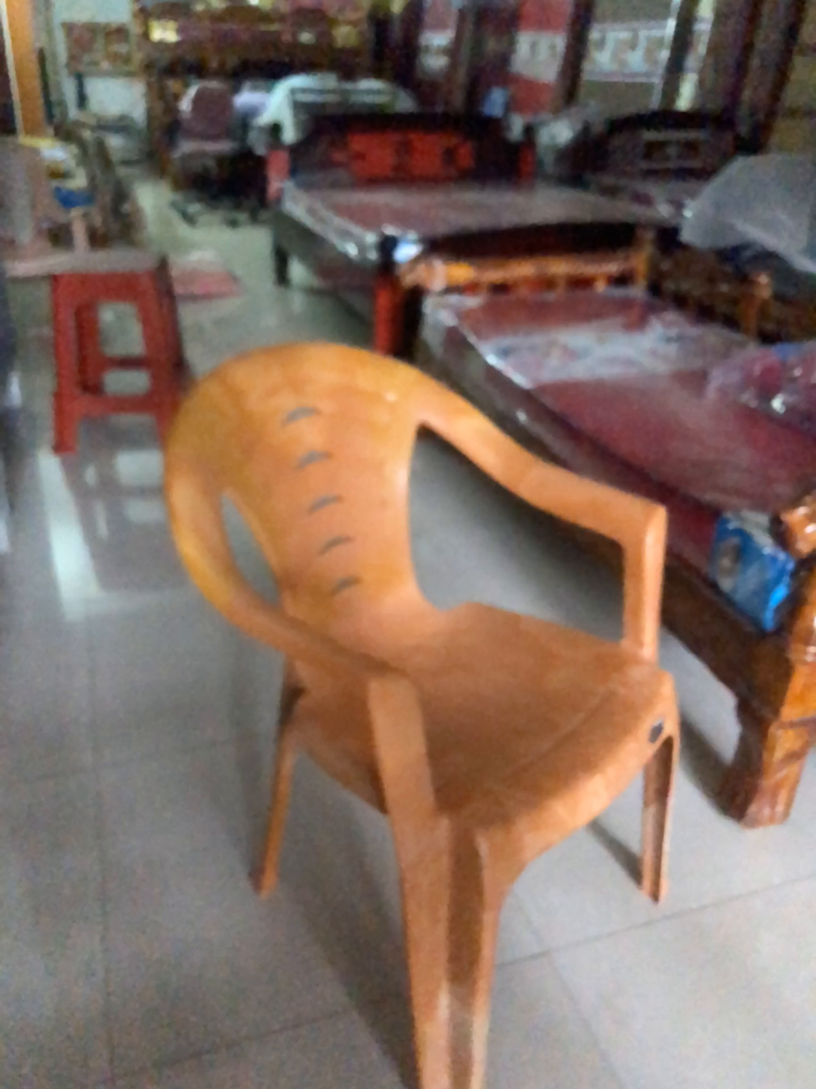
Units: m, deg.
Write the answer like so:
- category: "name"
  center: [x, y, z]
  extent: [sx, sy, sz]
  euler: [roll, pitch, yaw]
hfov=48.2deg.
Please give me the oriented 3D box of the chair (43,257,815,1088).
- category: "chair"
  center: [0.041, 0.141, 1.192]
  extent: [0.600, 0.846, 0.633]
  euler: [23, 34, 35]
